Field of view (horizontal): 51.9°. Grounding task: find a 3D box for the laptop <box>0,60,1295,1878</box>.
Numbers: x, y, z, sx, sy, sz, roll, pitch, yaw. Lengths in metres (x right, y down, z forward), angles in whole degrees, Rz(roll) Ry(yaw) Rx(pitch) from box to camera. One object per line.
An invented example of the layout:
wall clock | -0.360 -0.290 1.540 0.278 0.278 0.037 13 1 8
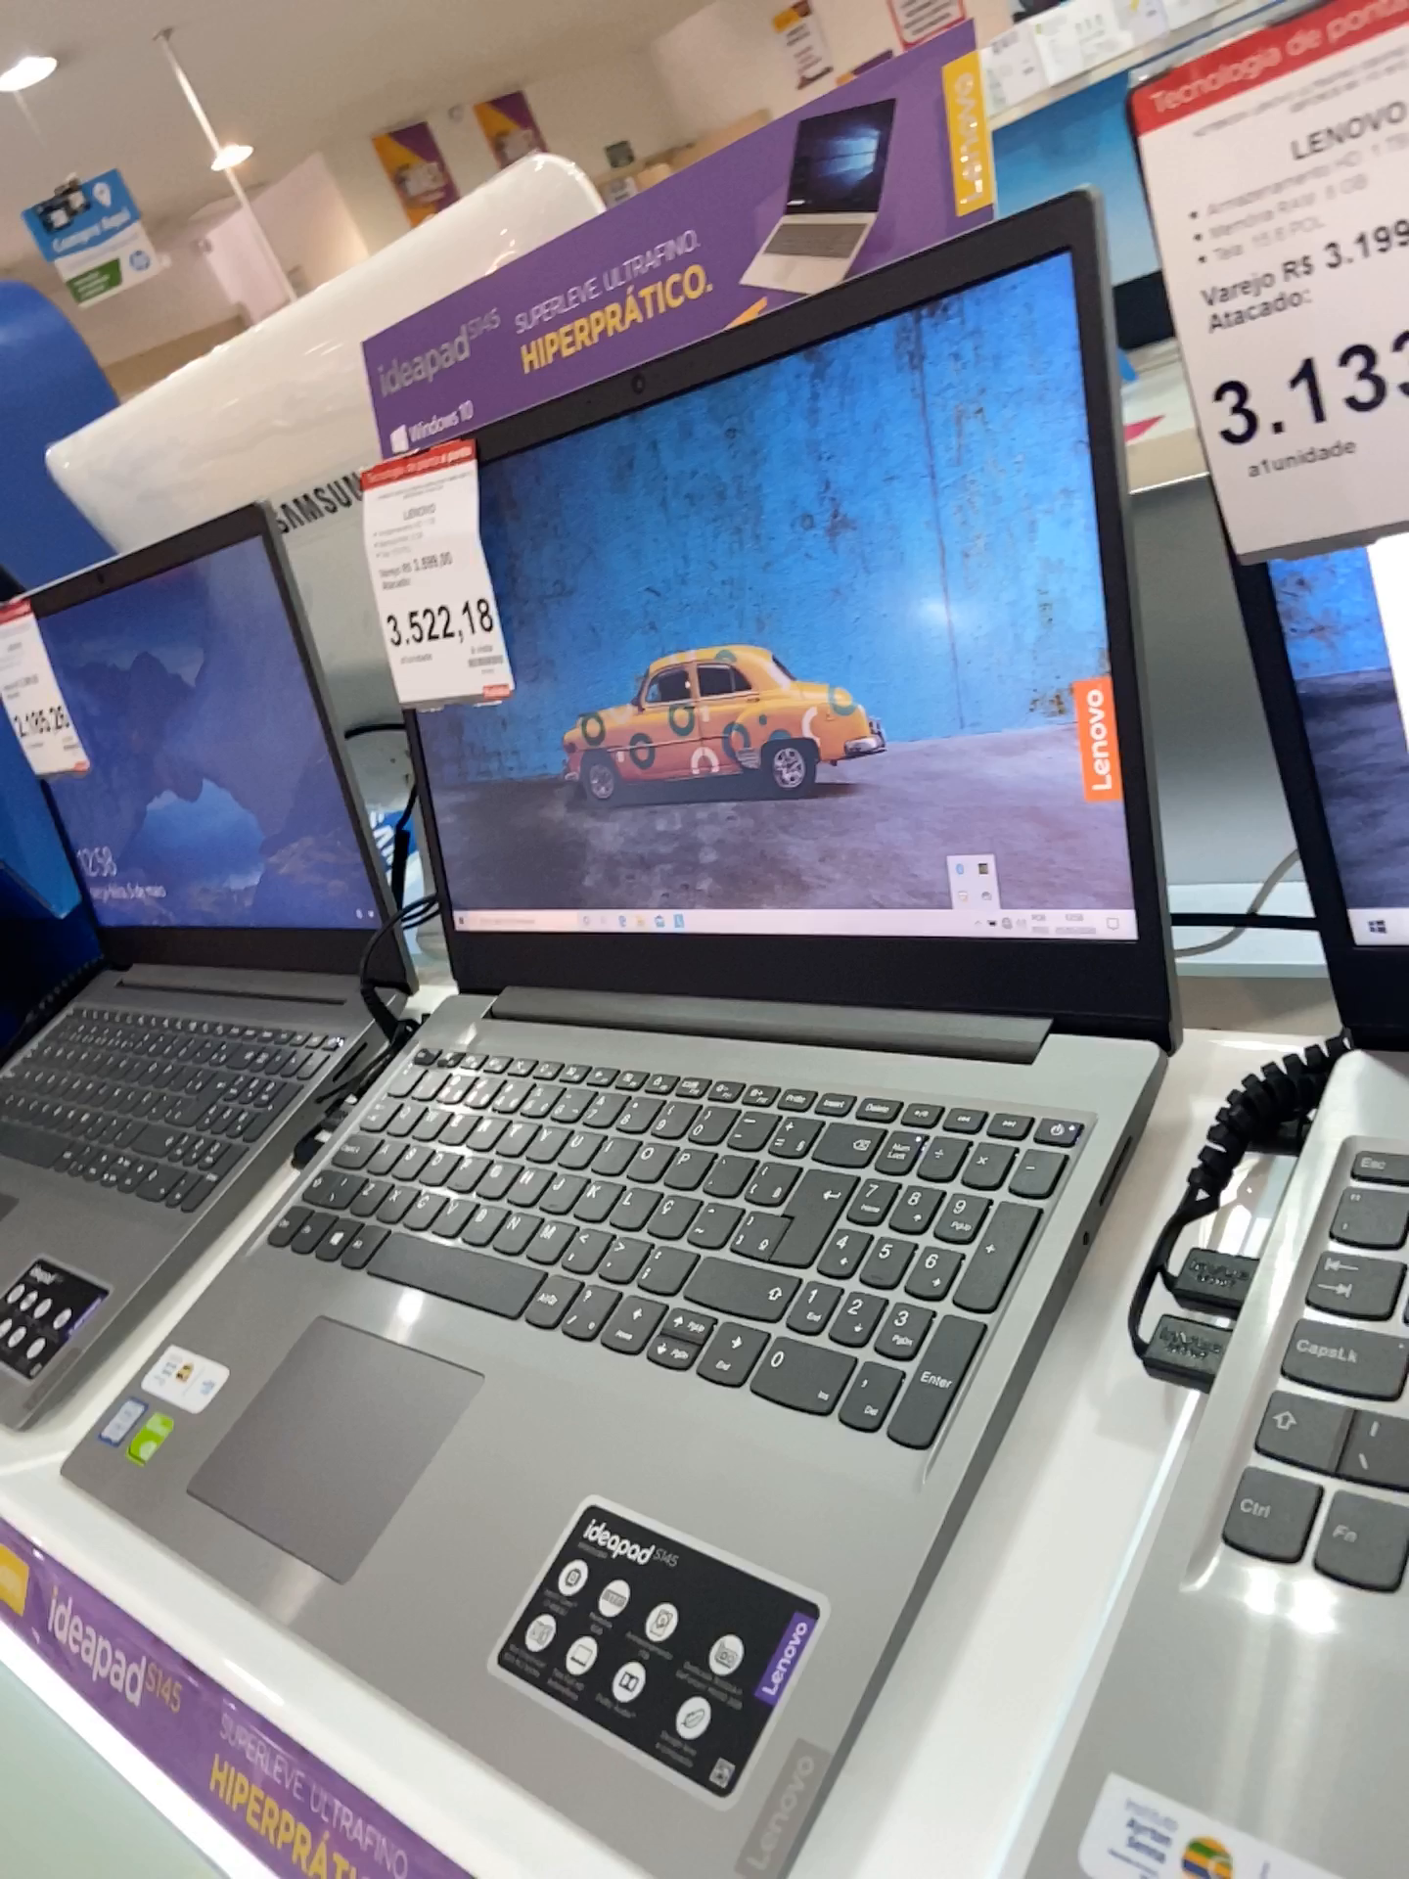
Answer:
laptop | -0.066 -0.021 0.460 0.347 0.209 0.365 -1 41 46
